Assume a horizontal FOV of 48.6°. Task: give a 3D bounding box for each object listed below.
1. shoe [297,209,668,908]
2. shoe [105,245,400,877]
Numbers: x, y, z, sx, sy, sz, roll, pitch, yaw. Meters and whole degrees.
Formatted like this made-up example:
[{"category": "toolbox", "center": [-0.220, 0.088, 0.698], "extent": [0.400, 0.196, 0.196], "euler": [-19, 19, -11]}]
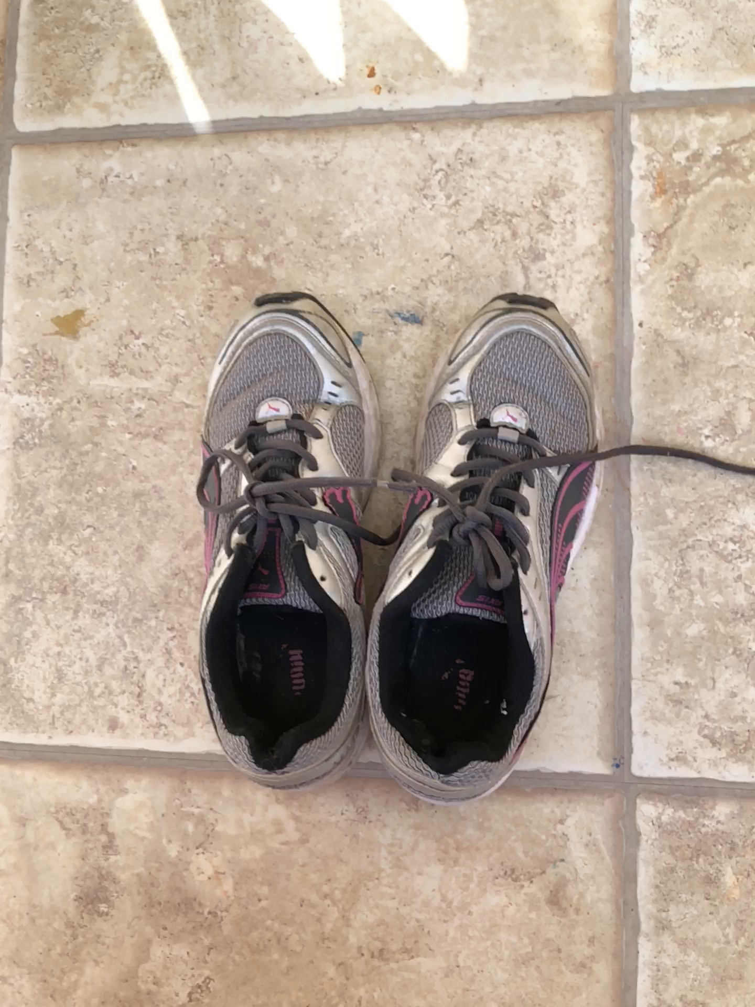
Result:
[{"category": "shoe", "center": [0.053, 0.021, 0.410], "extent": [0.110, 0.140, 0.270], "euler": [9, 87, 9]}, {"category": "shoe", "center": [-0.056, 0.028, 0.435], "extent": [0.110, 0.140, 0.270], "euler": [-3, 85, 8]}]
